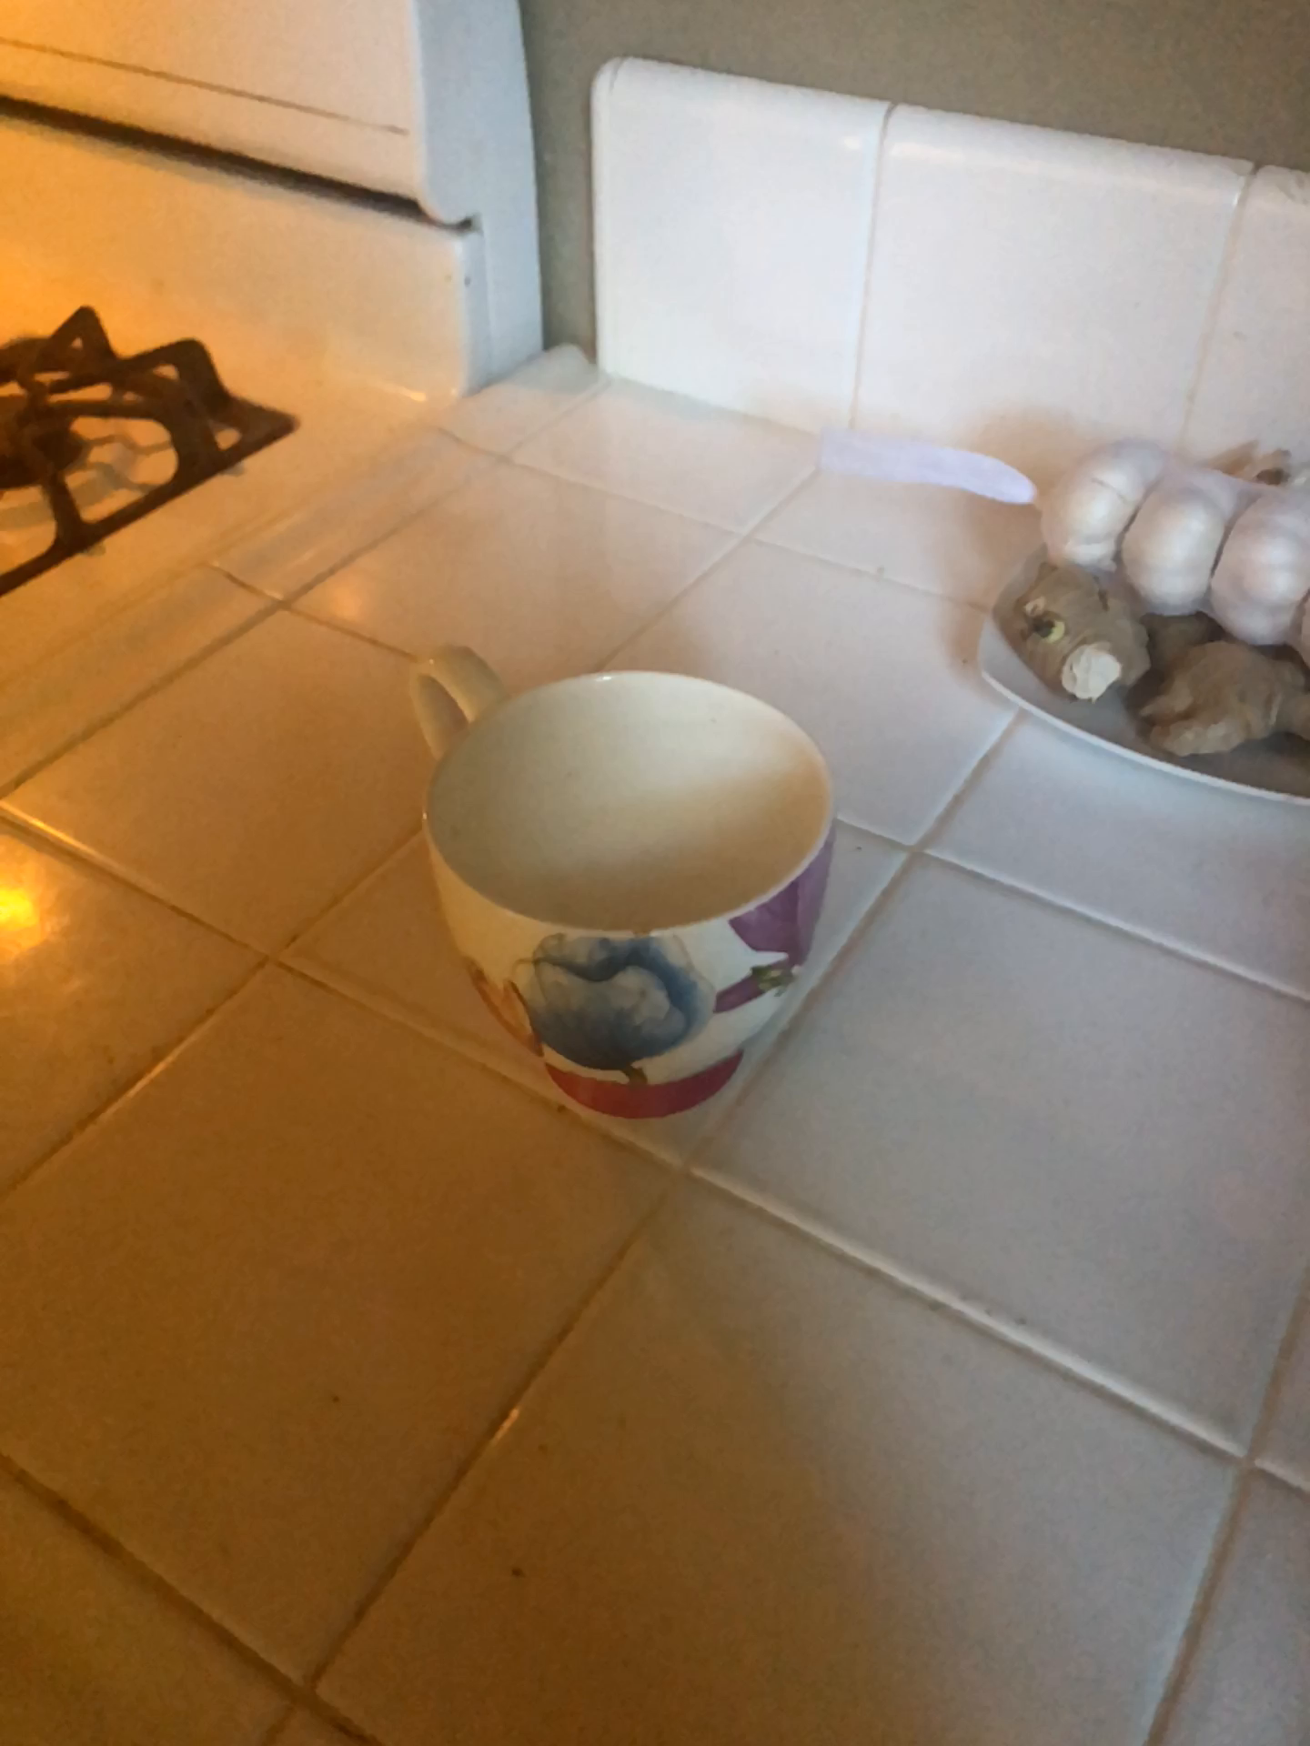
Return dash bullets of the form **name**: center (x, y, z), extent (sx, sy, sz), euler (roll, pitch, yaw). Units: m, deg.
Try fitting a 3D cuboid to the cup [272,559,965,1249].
- **cup**: center (-0.015, -0.001, 0.420), extent (0.101, 0.089, 0.171), euler (-31, 51, -29)
